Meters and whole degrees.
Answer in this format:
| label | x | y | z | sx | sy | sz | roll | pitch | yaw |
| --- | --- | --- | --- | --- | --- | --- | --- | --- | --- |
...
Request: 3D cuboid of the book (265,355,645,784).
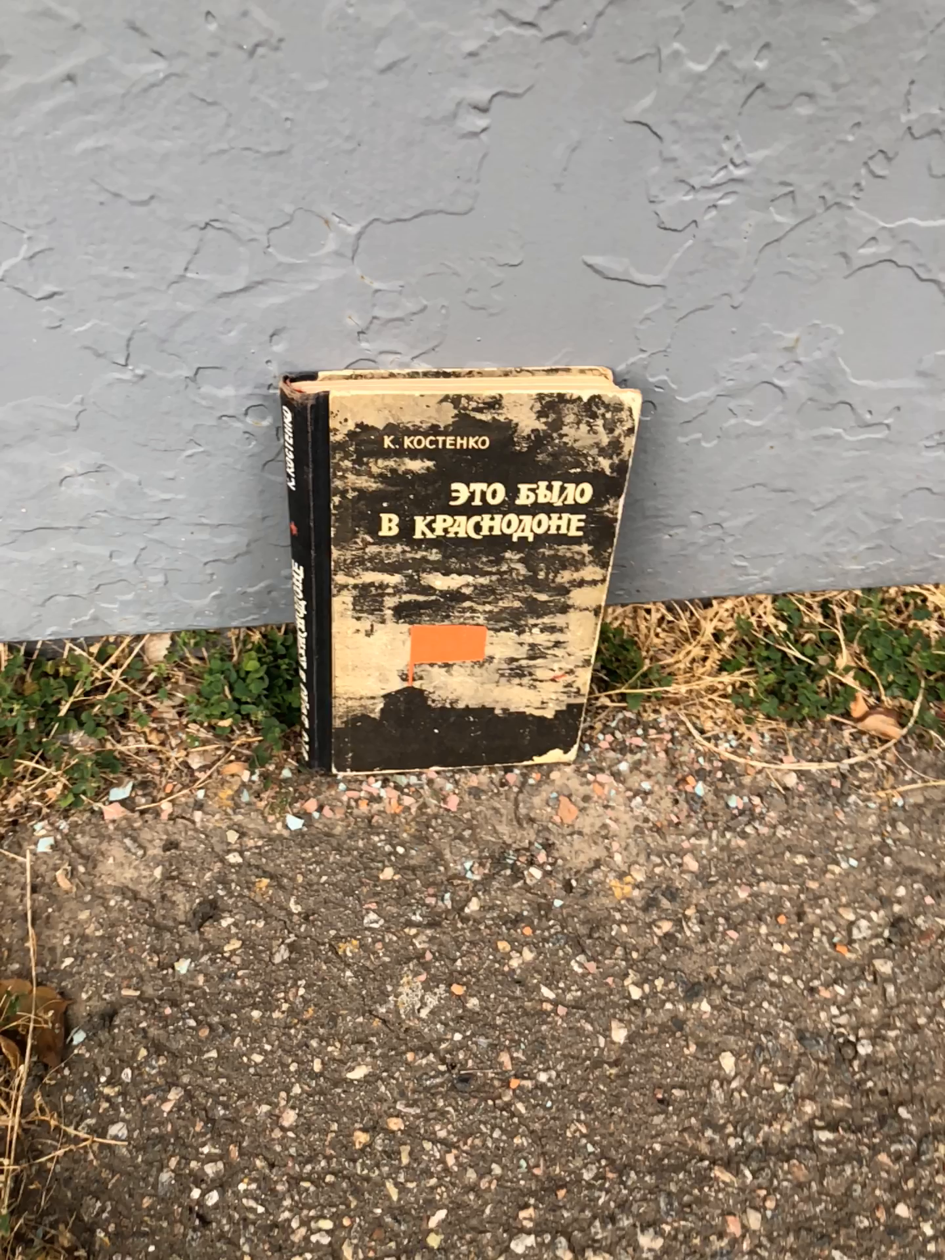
| label | x | y | z | sx | sy | sz | roll | pitch | yaw |
| --- | --- | --- | --- | --- | --- | --- | --- | --- | --- |
| book | -0.011 | -0.018 | 0.454 | 0.140 | 0.199 | 0.030 | -2 | 38 | -7 |
